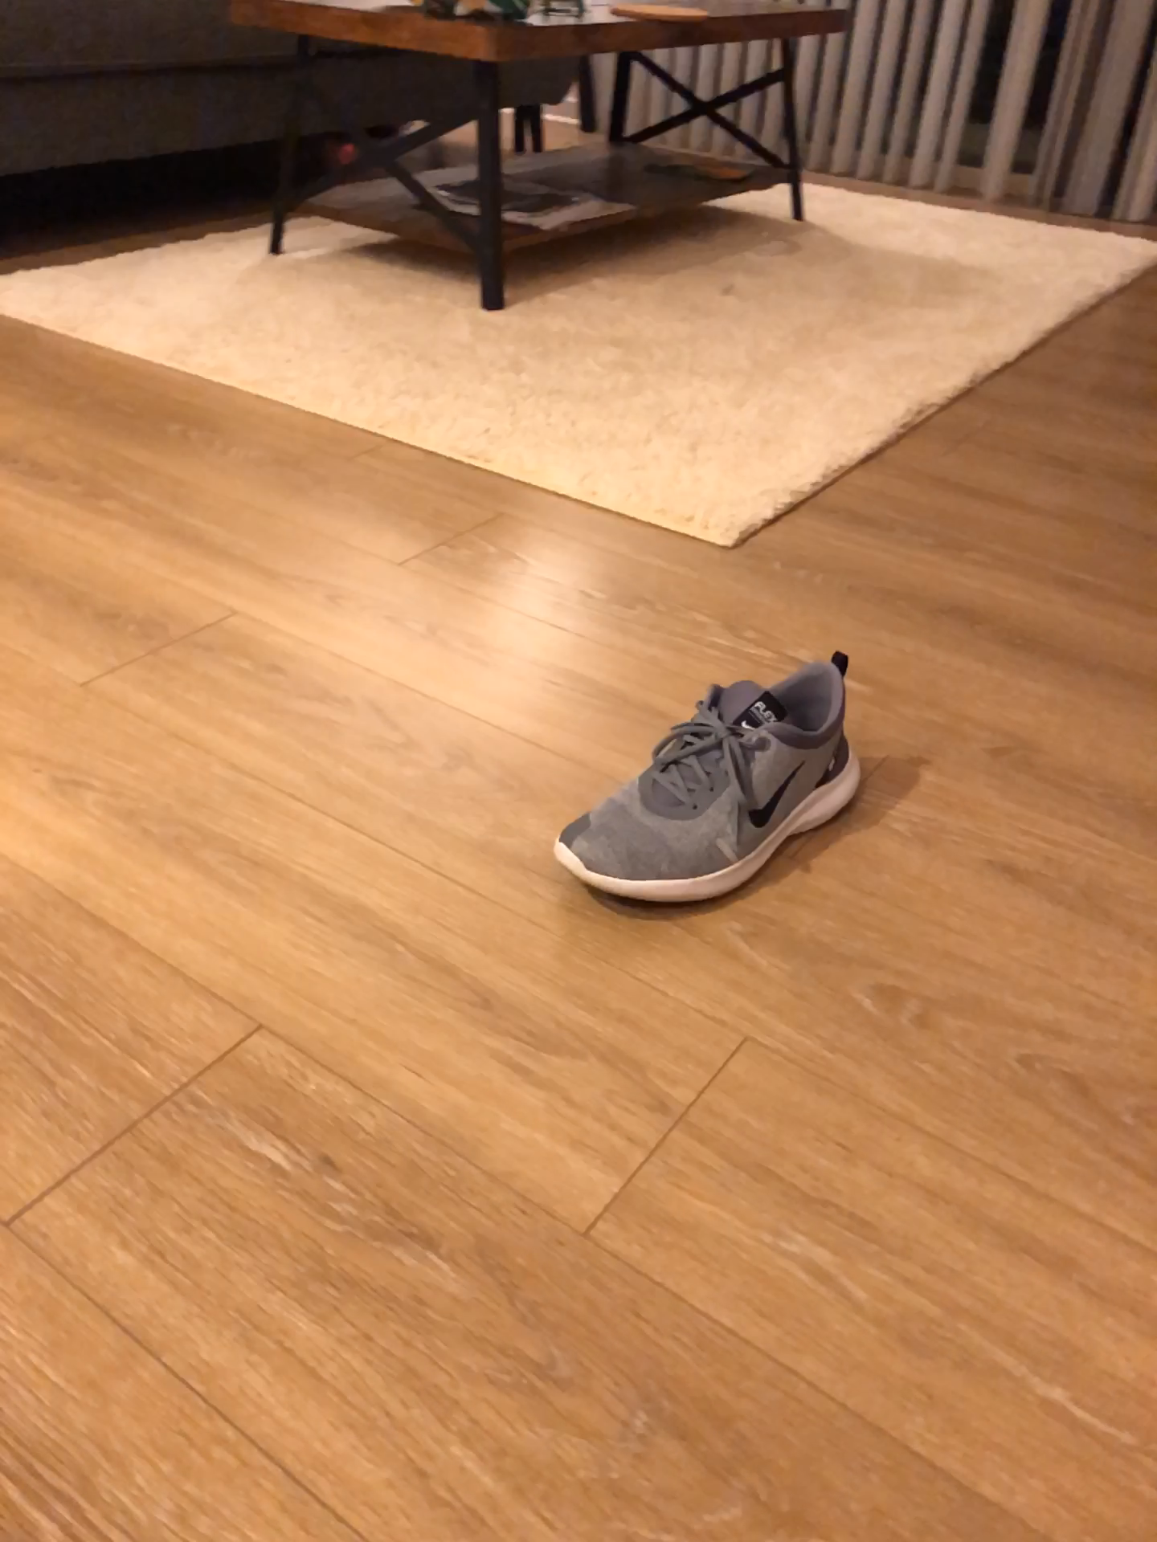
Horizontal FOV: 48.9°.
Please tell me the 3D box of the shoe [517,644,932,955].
[{"bbox_3d":[0.120,0.009,1.002,0.321,0.080,0.140,-25,44,-35],"label":"shoe"}]
